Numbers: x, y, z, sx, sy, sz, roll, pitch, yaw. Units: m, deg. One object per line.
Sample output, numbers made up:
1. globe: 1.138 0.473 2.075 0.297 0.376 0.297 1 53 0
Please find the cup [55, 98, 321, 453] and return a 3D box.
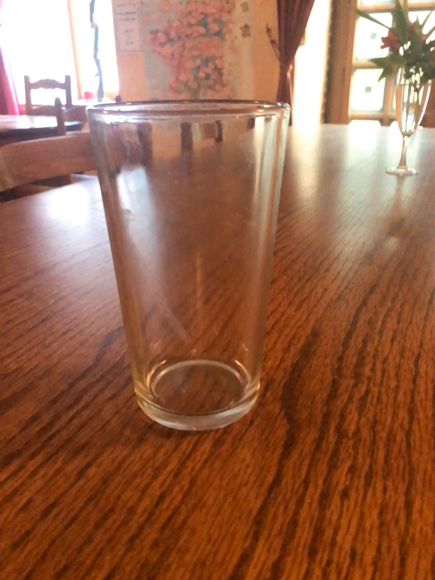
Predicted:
1. cup: -0.005 -0.016 0.239 0.089 0.144 0.092 -1 22 0
